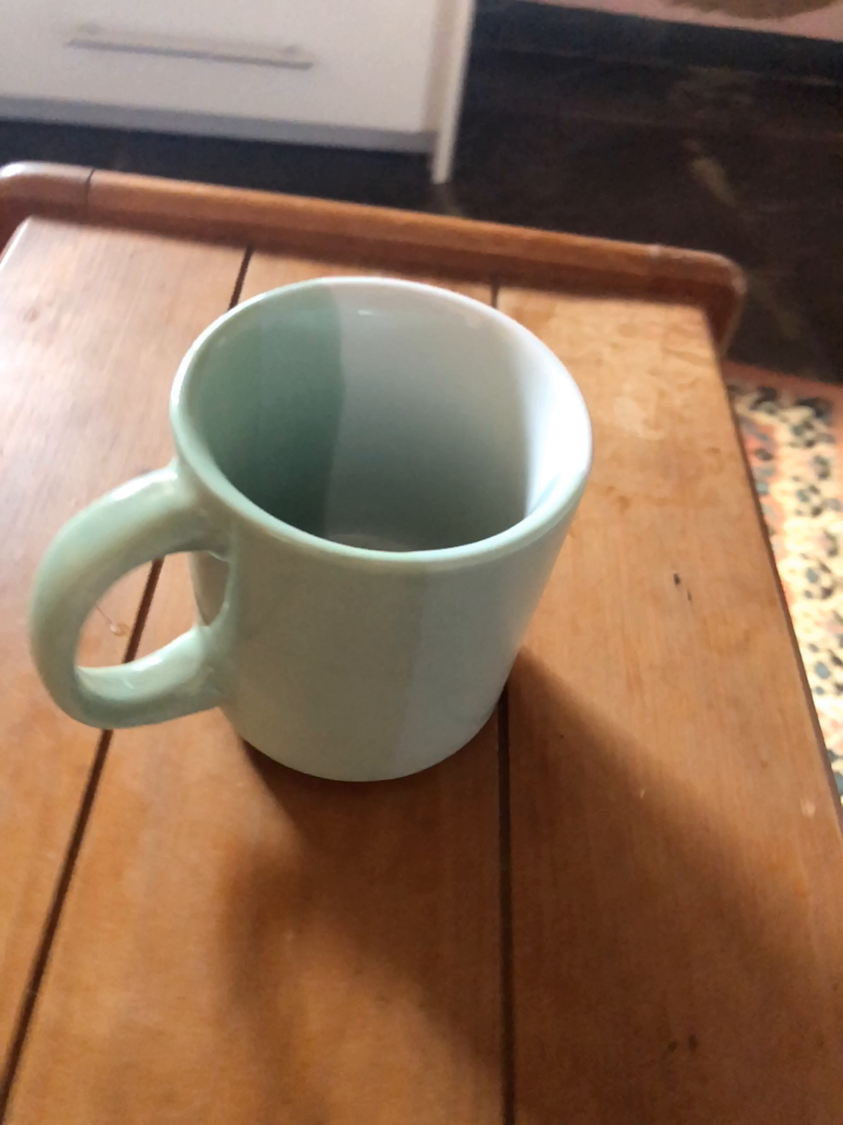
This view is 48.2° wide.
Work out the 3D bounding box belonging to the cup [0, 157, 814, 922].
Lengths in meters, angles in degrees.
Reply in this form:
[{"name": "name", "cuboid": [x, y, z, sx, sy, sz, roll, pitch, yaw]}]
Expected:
[{"name": "cup", "cuboid": [-0.011, -0.011, 0.194, 0.130, 0.089, 0.080, -23, 57, -26]}]
